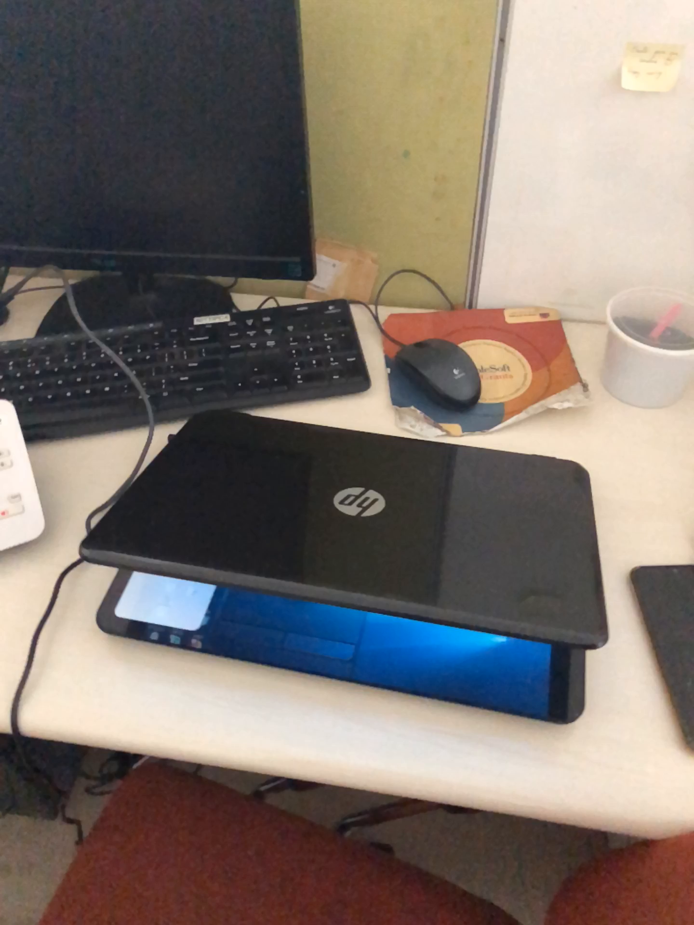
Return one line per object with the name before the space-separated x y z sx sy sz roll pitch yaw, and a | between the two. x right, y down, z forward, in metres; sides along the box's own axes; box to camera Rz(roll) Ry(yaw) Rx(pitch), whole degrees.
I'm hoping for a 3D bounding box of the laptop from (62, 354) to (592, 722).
laptop | 0.004 0.040 0.606 0.350 0.072 0.247 9 48 9
